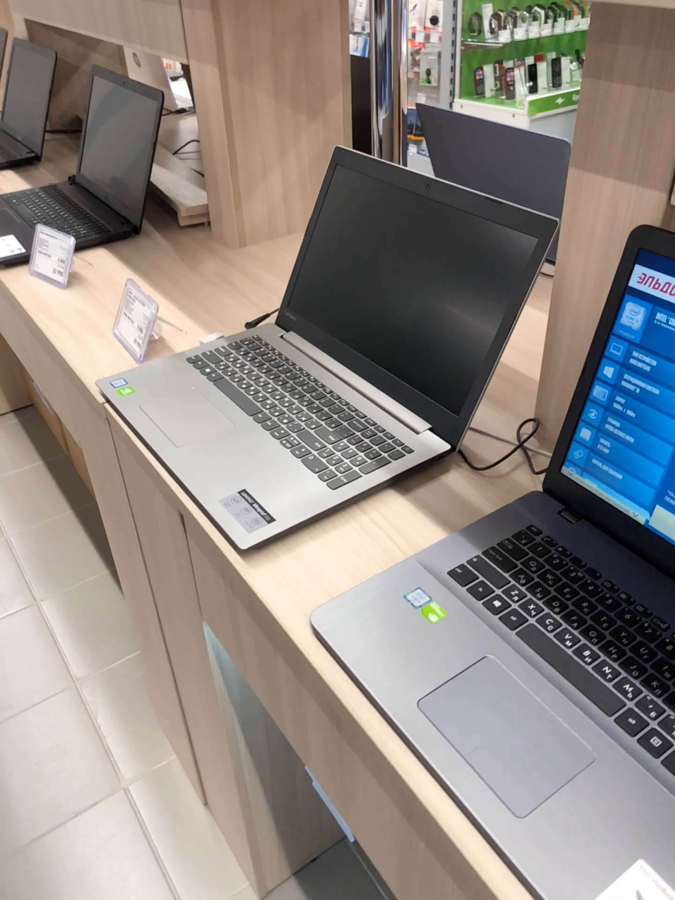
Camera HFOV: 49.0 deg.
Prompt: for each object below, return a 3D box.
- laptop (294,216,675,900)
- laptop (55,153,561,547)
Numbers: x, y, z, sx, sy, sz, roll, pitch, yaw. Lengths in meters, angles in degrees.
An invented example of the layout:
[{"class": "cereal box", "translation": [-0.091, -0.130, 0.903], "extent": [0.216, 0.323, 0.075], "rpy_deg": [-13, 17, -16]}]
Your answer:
[{"class": "laptop", "translation": [0.222, 0.068, 0.453], "extent": [0.334, 0.246, 0.404], "rpy_deg": [-23, 40, -25]}, {"class": "laptop", "translation": [-0.042, -0.148, 0.804], "extent": [0.366, 0.207, 0.371], "rpy_deg": [-23, 39, -26]}]
